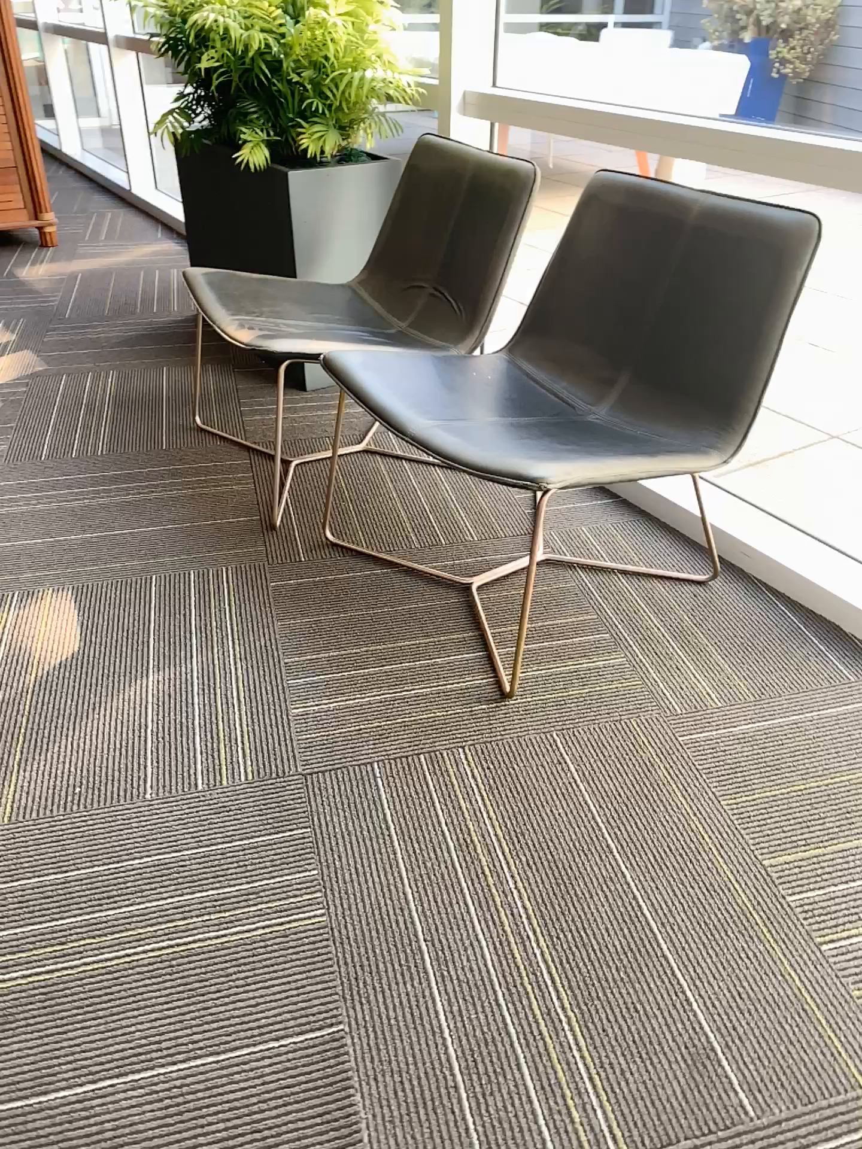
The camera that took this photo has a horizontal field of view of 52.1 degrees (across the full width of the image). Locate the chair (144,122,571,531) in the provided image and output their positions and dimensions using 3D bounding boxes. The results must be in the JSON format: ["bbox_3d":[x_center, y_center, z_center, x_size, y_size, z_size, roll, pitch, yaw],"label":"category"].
[{"bbox_3d":[-0.194,-0.634,2.077,0.691,0.676,0.704,-15,37,-23],"label":"chair"}]

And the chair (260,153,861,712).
[{"bbox_3d":[0.188,-0.333,1.623,0.691,0.676,0.703,-21,39,-30],"label":"chair"}]
